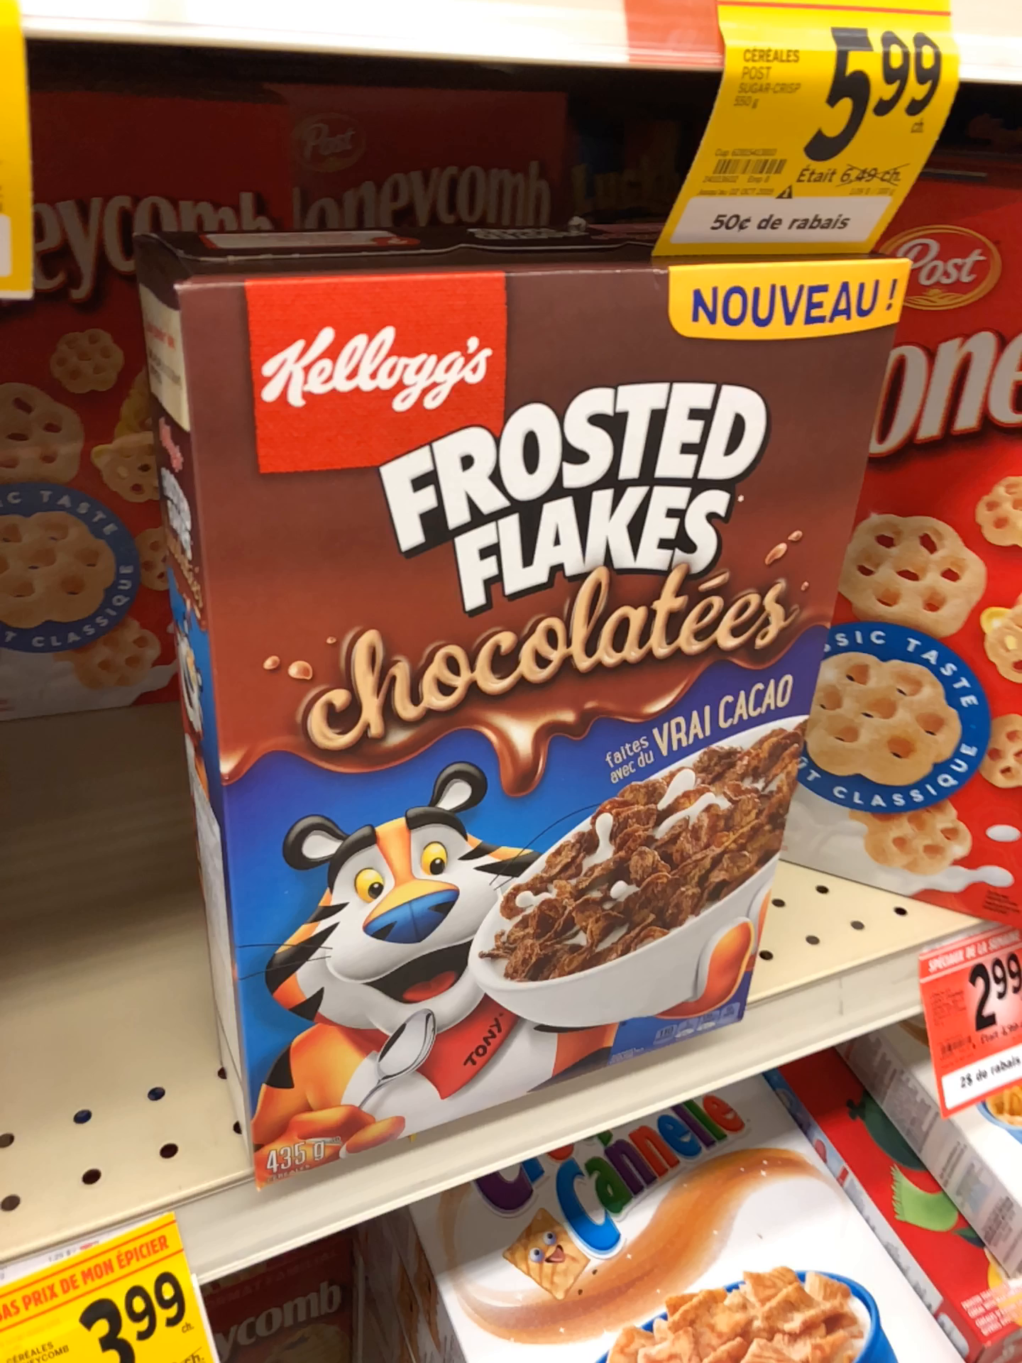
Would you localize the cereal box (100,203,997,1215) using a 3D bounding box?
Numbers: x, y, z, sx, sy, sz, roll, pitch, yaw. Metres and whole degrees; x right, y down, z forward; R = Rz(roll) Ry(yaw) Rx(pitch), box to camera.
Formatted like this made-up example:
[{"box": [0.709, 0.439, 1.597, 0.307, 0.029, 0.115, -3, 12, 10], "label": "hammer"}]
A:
[{"box": [0.007, 0.009, 0.344, 0.210, 0.278, 0.070, -10, 33, -22], "label": "cereal box"}]
